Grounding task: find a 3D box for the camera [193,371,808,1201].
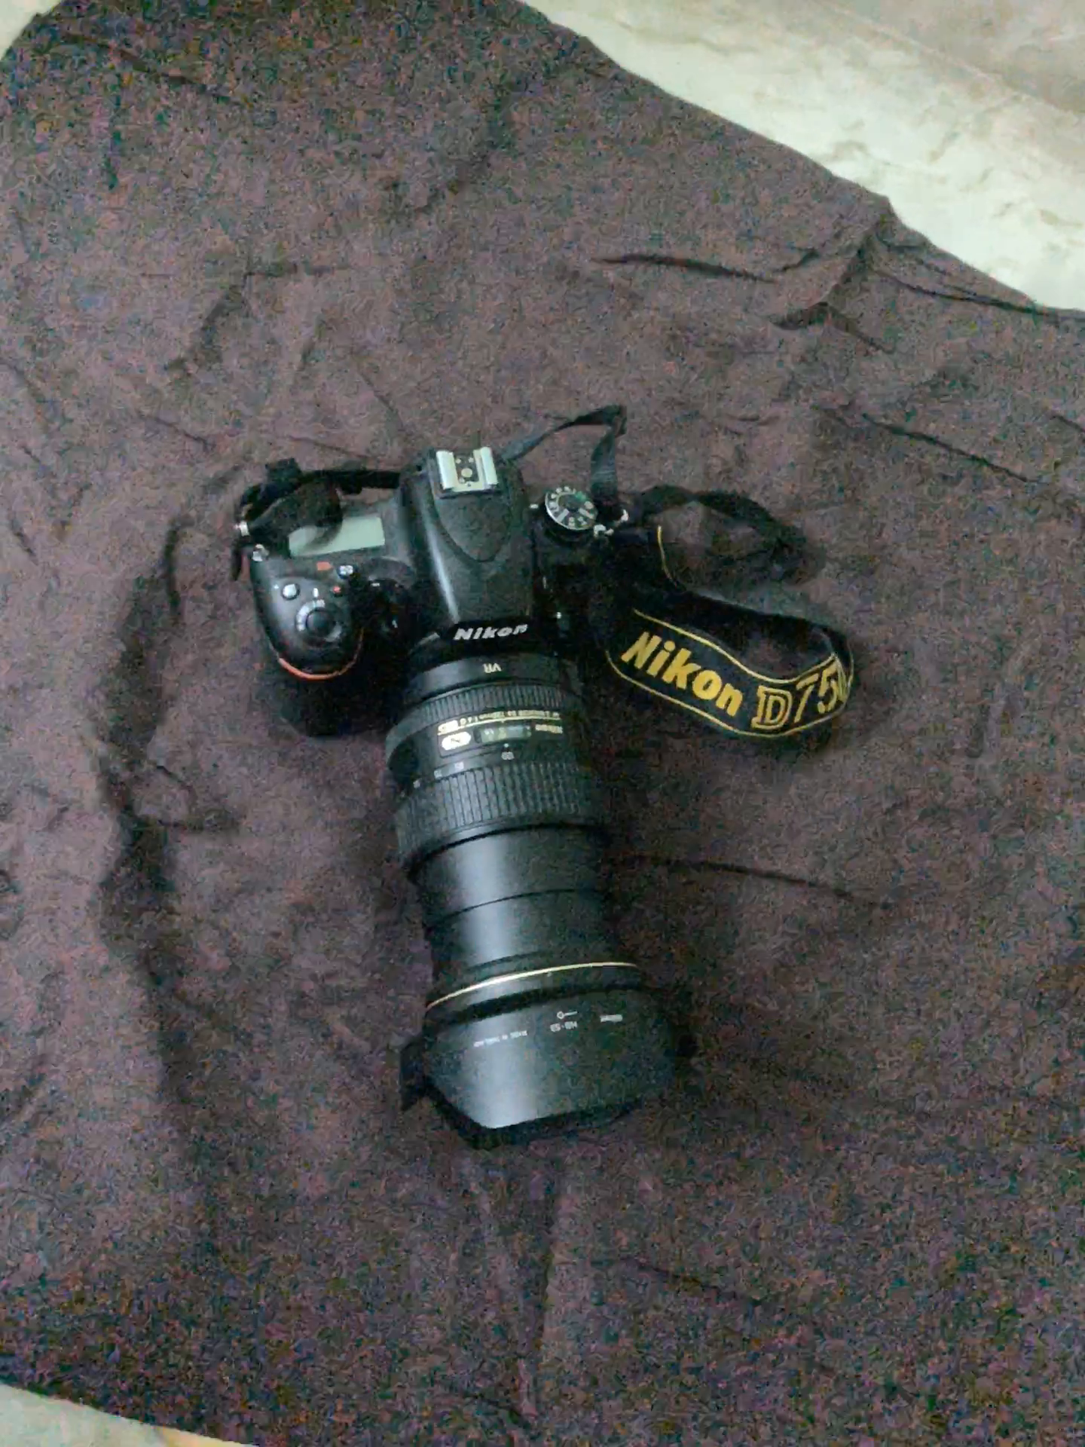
[{"bbox_3d":[-0.030,0.016,0.429,0.161,0.100,0.279,-8,70,-13],"label":"camera"}]
